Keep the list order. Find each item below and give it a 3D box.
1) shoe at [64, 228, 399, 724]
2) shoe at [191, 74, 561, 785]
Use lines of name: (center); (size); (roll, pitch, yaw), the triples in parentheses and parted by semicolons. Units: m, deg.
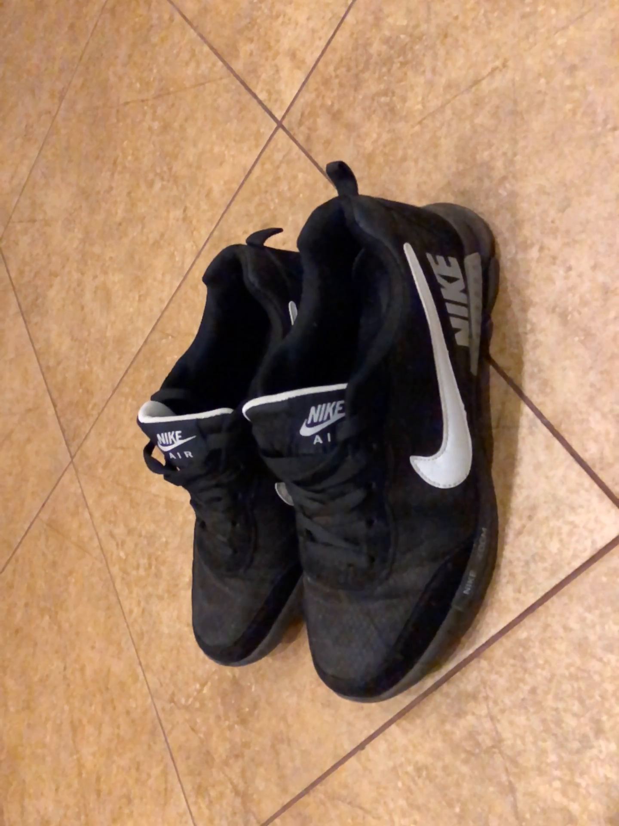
shoe: (-0.051, 0.033, 0.441); (0.111, 0.119, 0.270); (15, 94, 45)
shoe: (0.038, 0.007, 0.371); (0.121, 0.119, 0.300); (3, 85, 45)
